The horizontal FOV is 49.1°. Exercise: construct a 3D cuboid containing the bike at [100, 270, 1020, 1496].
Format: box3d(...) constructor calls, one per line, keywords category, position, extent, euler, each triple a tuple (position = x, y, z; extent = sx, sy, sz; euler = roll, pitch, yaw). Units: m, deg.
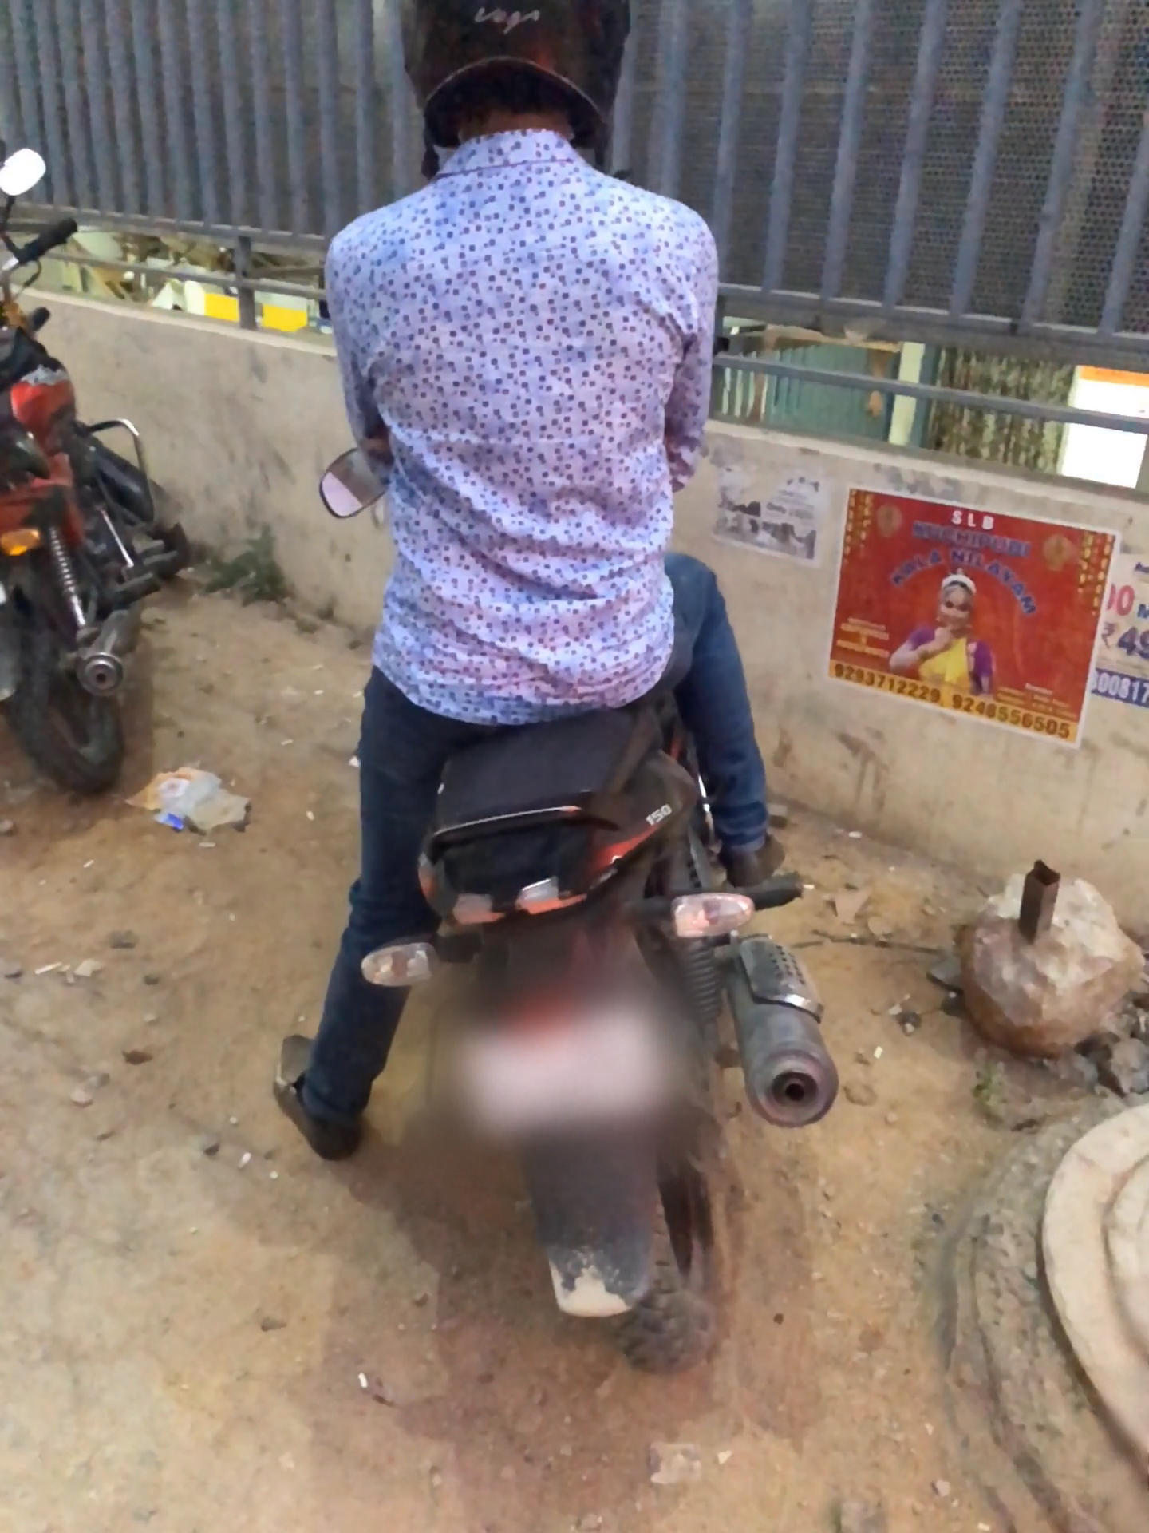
box3d(category="bike", position=(-0.093, -0.082, 2.062), extent=(0.746, 1.144, 1.810), euler=(2, 26, -4))
